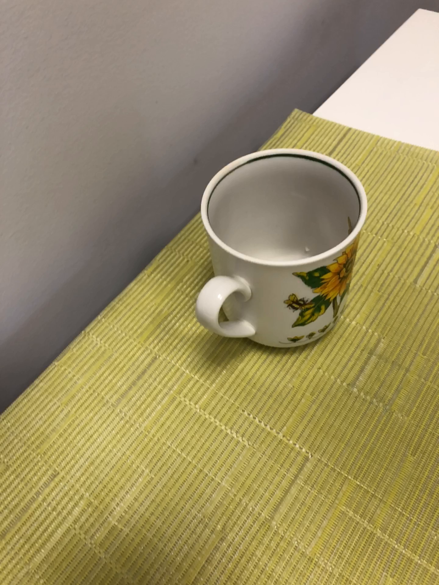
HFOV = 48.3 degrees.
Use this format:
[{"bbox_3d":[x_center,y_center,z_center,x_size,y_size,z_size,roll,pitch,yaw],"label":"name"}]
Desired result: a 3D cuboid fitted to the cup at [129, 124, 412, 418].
[{"bbox_3d":[0.031,-0.016,0.277,0.088,0.084,0.116,32,63,28],"label":"cup"}]
